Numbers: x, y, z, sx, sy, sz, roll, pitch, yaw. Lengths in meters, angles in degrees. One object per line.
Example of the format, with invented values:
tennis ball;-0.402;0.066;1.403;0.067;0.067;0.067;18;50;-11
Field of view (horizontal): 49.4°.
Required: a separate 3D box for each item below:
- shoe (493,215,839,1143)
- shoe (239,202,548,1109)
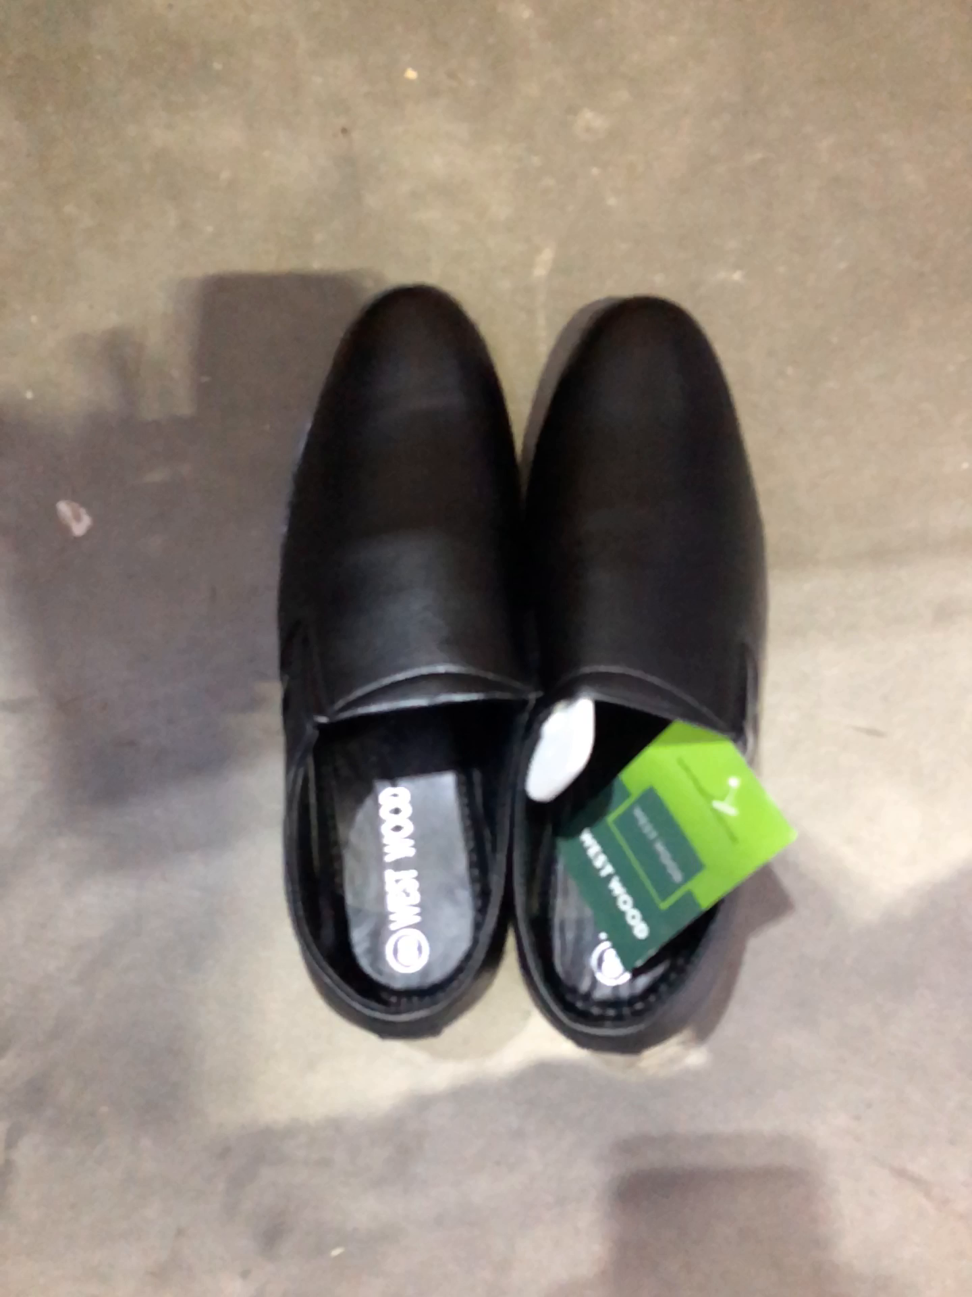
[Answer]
shoe;0.063;0.007;0.392;0.100;0.090;0.300;3;86;3
shoe;-0.030;0.002;0.401;0.100;0.100;0.300;-1;85;3
